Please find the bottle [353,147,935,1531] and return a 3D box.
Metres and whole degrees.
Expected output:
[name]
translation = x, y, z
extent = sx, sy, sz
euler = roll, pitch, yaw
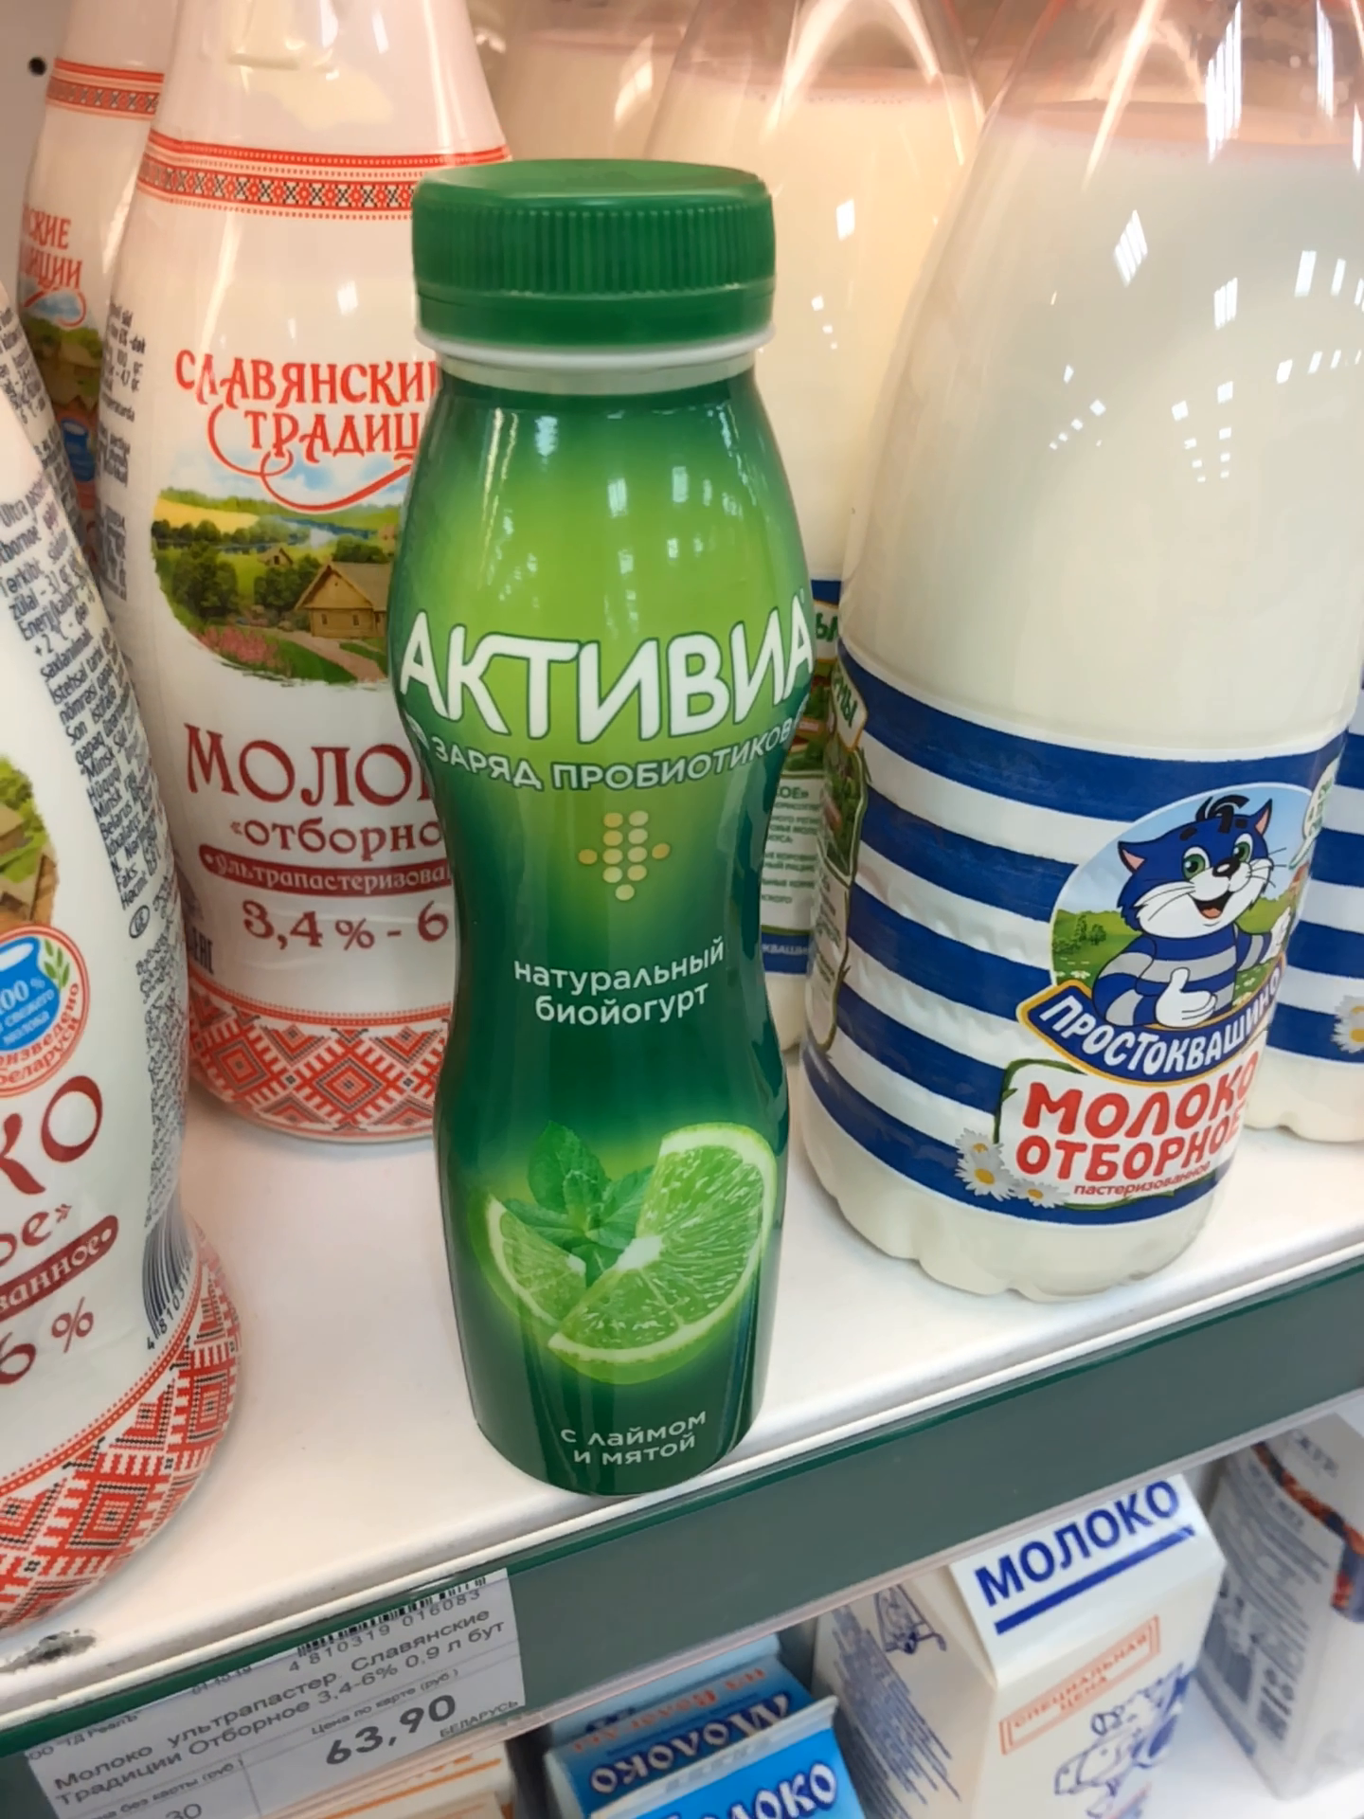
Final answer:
[bottle]
translation = -0.009, 0.000, 0.205
extent = 0.053, 0.179, 0.052
euler = 1, 31, -1
